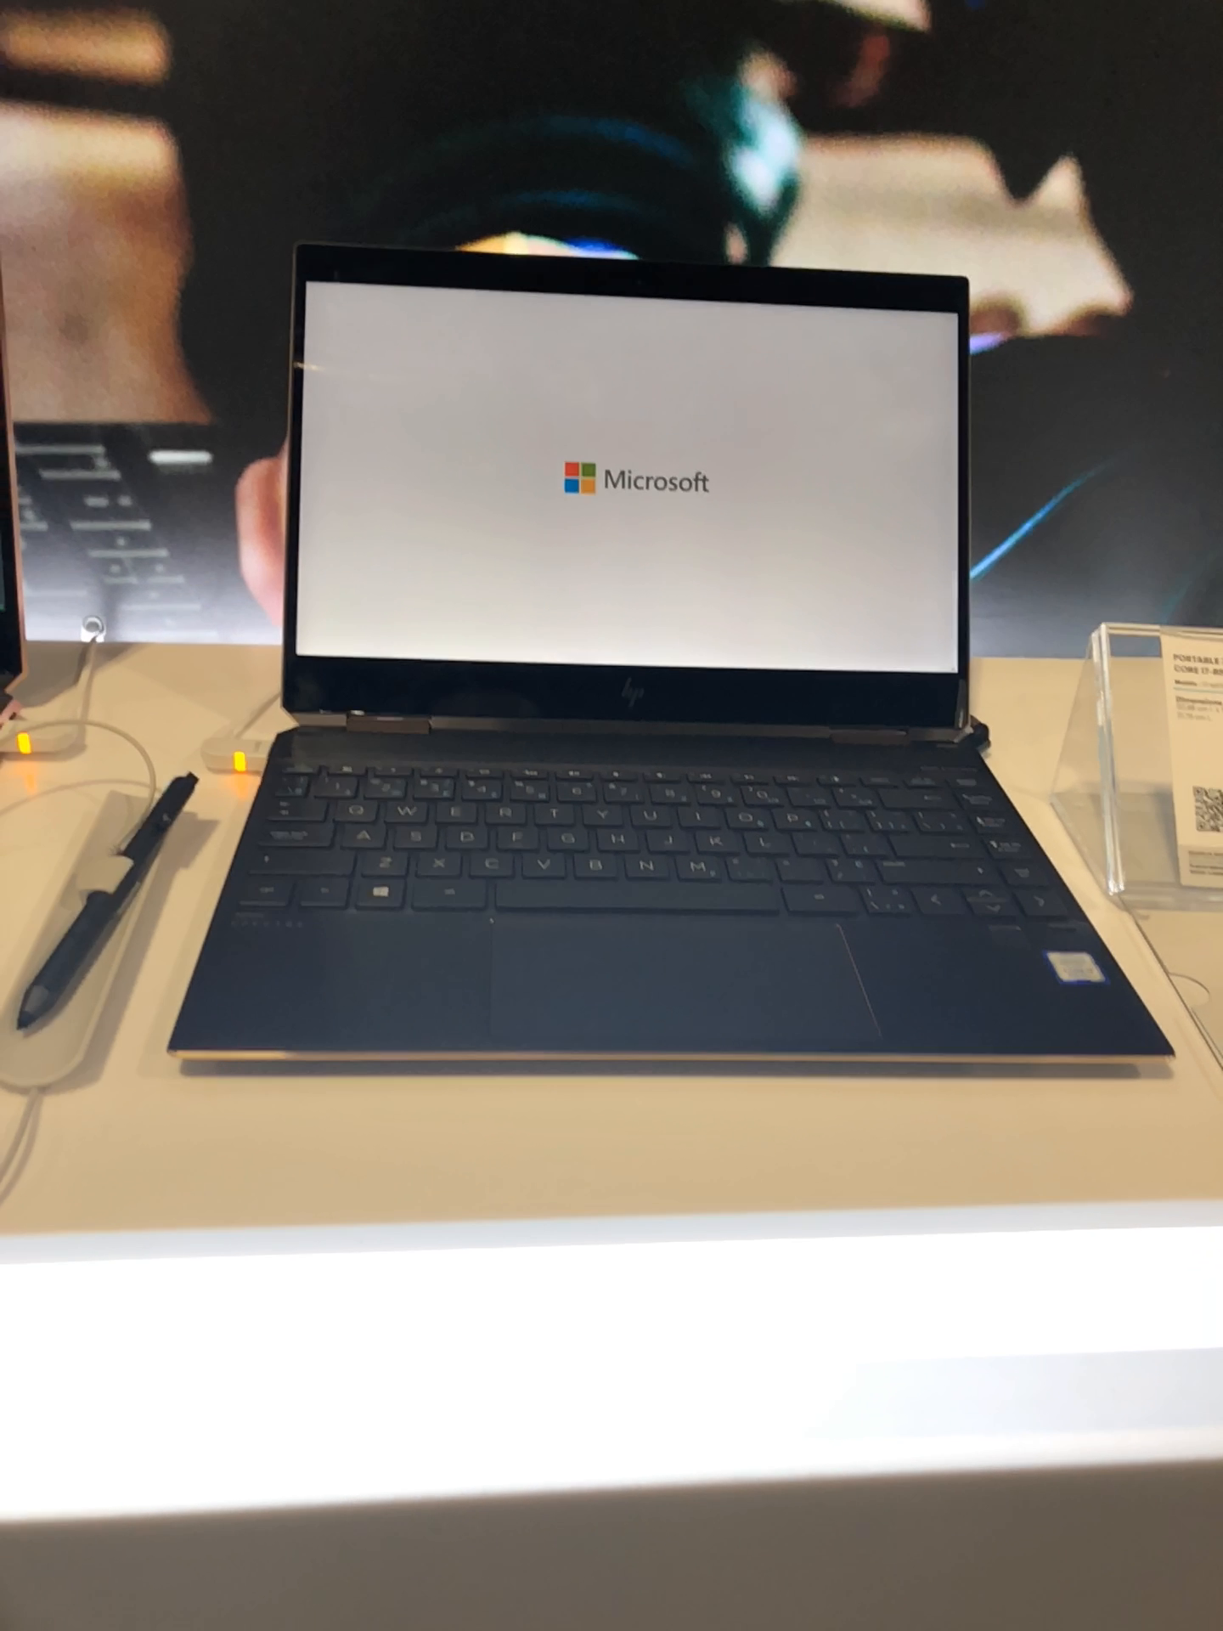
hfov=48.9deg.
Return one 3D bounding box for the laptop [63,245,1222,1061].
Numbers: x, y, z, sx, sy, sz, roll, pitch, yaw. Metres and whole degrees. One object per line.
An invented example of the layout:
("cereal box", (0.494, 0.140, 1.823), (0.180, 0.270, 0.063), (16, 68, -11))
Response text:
("laptop", (0.016, -0.091, 0.504), (0.305, 0.172, 0.347), (1, 30, -5))
